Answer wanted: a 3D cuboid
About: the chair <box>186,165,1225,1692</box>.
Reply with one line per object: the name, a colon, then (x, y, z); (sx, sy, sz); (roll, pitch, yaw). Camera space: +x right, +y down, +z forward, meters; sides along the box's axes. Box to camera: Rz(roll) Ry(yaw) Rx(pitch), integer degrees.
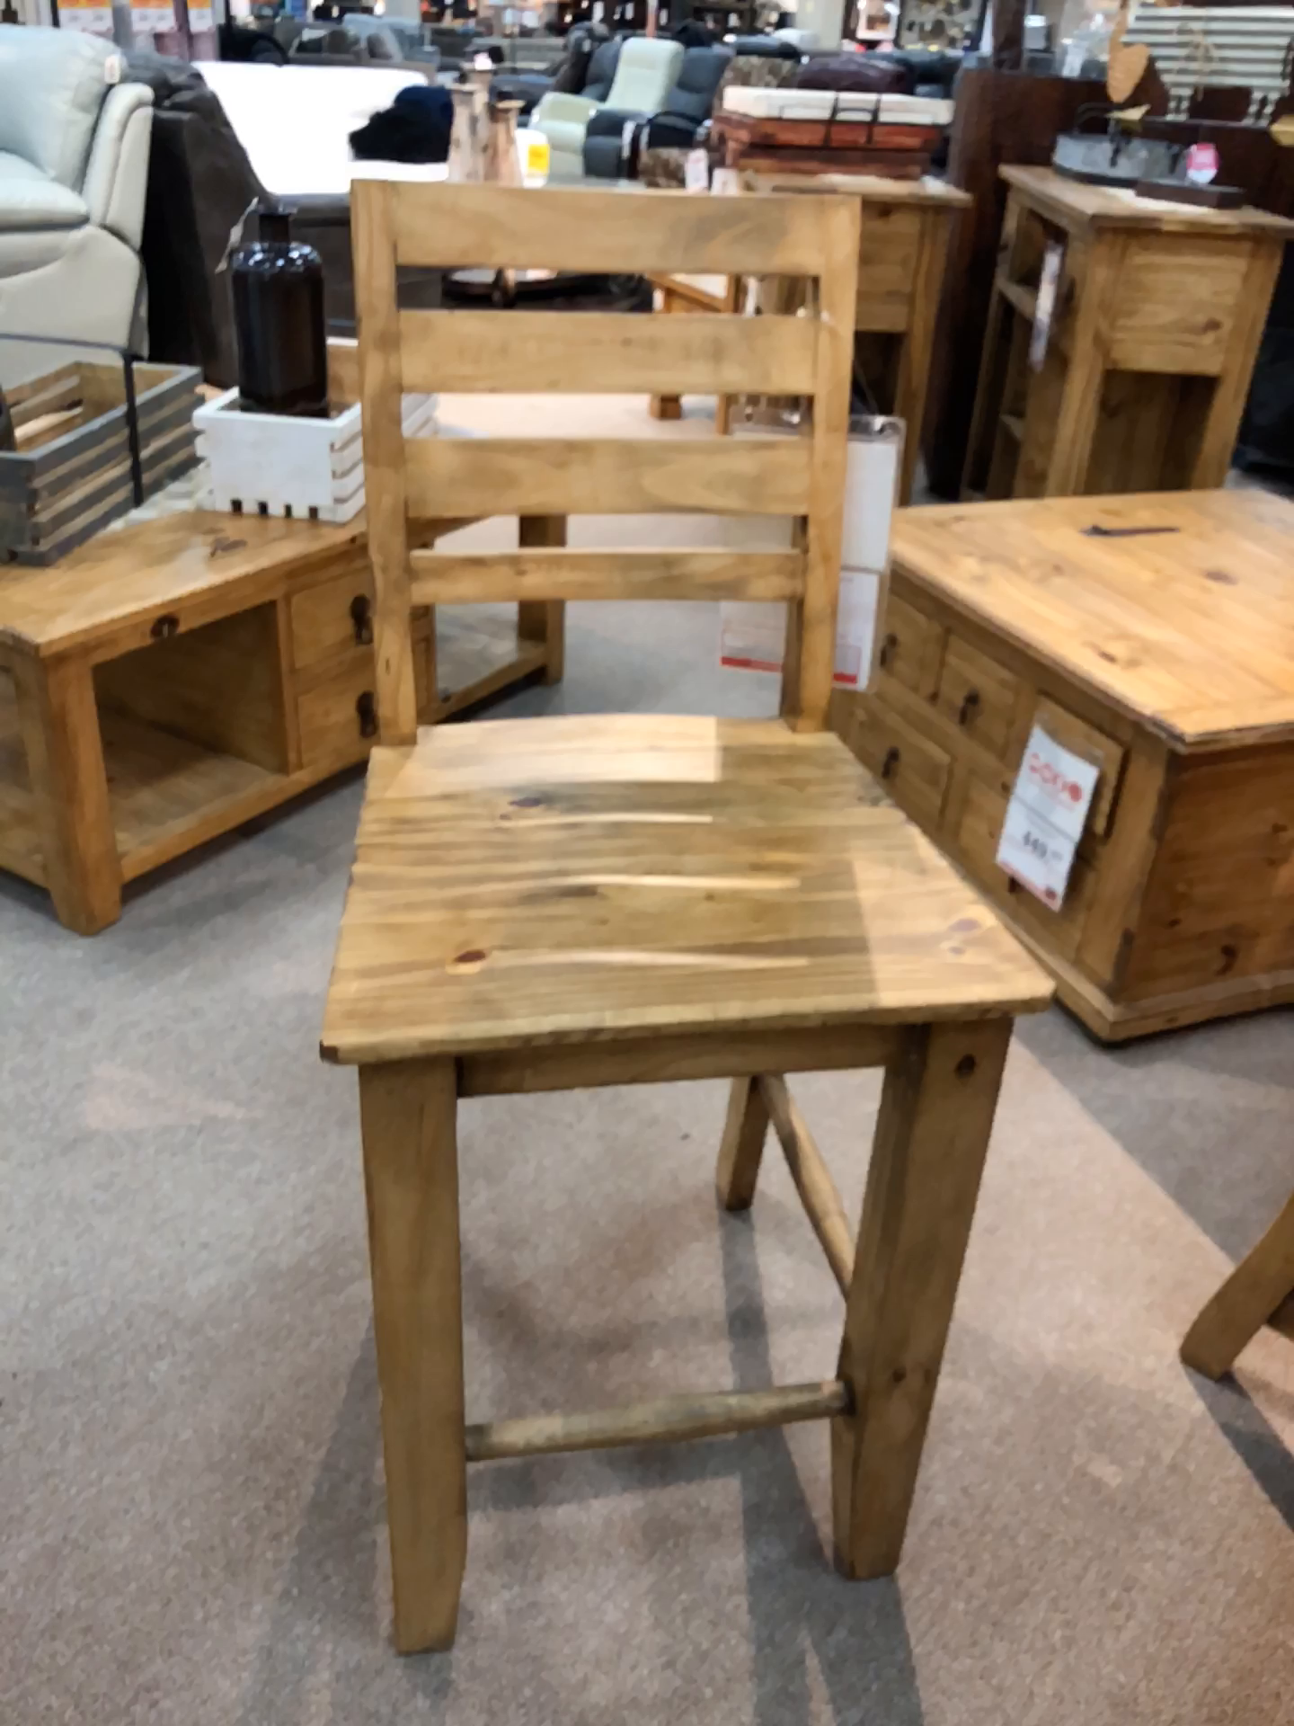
chair: (-0.025, 0.052, 1.103); (0.470, 1.013, 0.523); (-3, 31, -10)
